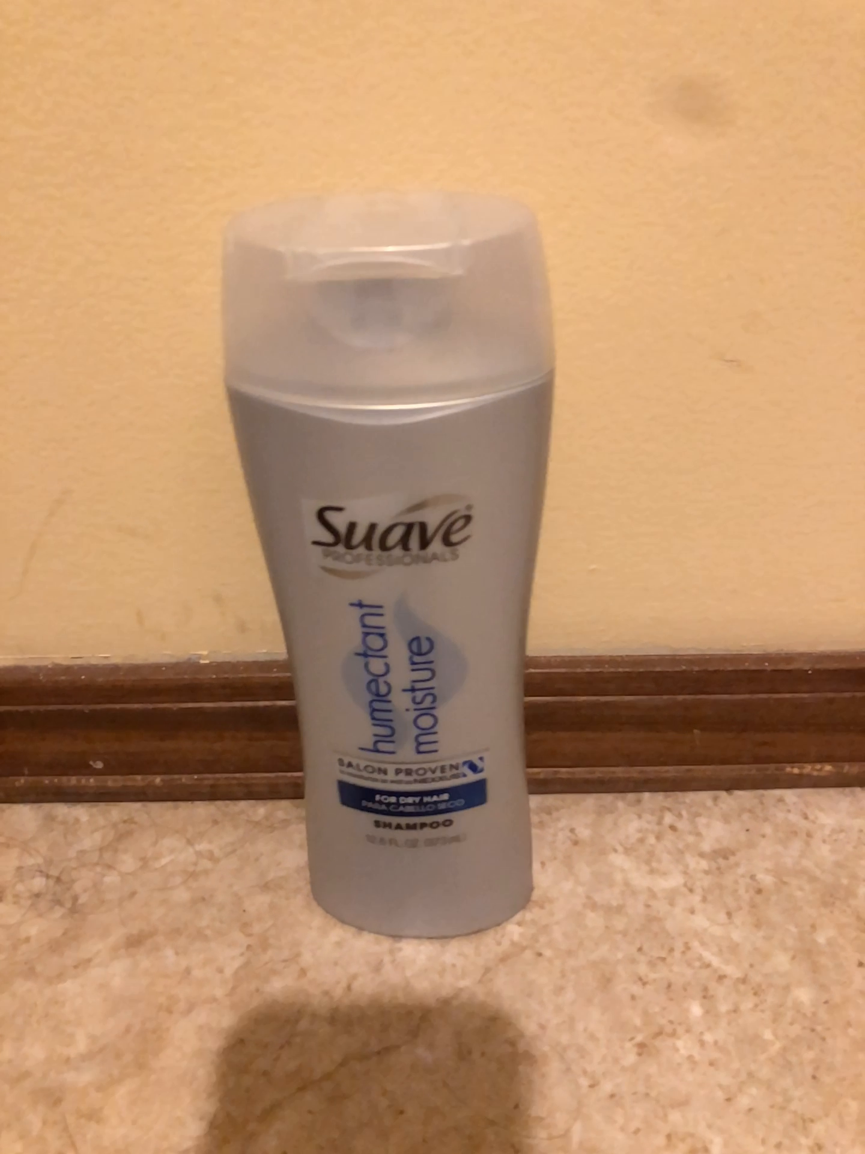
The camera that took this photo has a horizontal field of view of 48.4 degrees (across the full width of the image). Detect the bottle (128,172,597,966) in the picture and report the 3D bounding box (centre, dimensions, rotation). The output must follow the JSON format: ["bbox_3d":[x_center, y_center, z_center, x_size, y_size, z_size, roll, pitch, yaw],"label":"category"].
[{"bbox_3d":[-0.010,0.015,0.246,0.080,0.209,0.050,-2,36,0],"label":"bottle"}]
